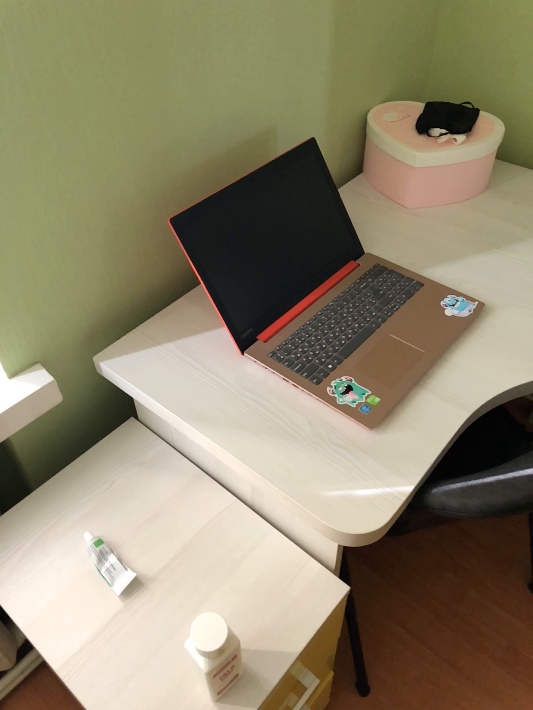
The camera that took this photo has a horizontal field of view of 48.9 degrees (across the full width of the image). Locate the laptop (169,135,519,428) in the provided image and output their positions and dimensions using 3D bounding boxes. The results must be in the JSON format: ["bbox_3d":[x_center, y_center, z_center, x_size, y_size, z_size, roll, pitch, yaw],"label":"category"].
[{"bbox_3d":[0.125,-0.155,0.986,0.402,0.198,0.376,30,52,28],"label":"laptop"}]
